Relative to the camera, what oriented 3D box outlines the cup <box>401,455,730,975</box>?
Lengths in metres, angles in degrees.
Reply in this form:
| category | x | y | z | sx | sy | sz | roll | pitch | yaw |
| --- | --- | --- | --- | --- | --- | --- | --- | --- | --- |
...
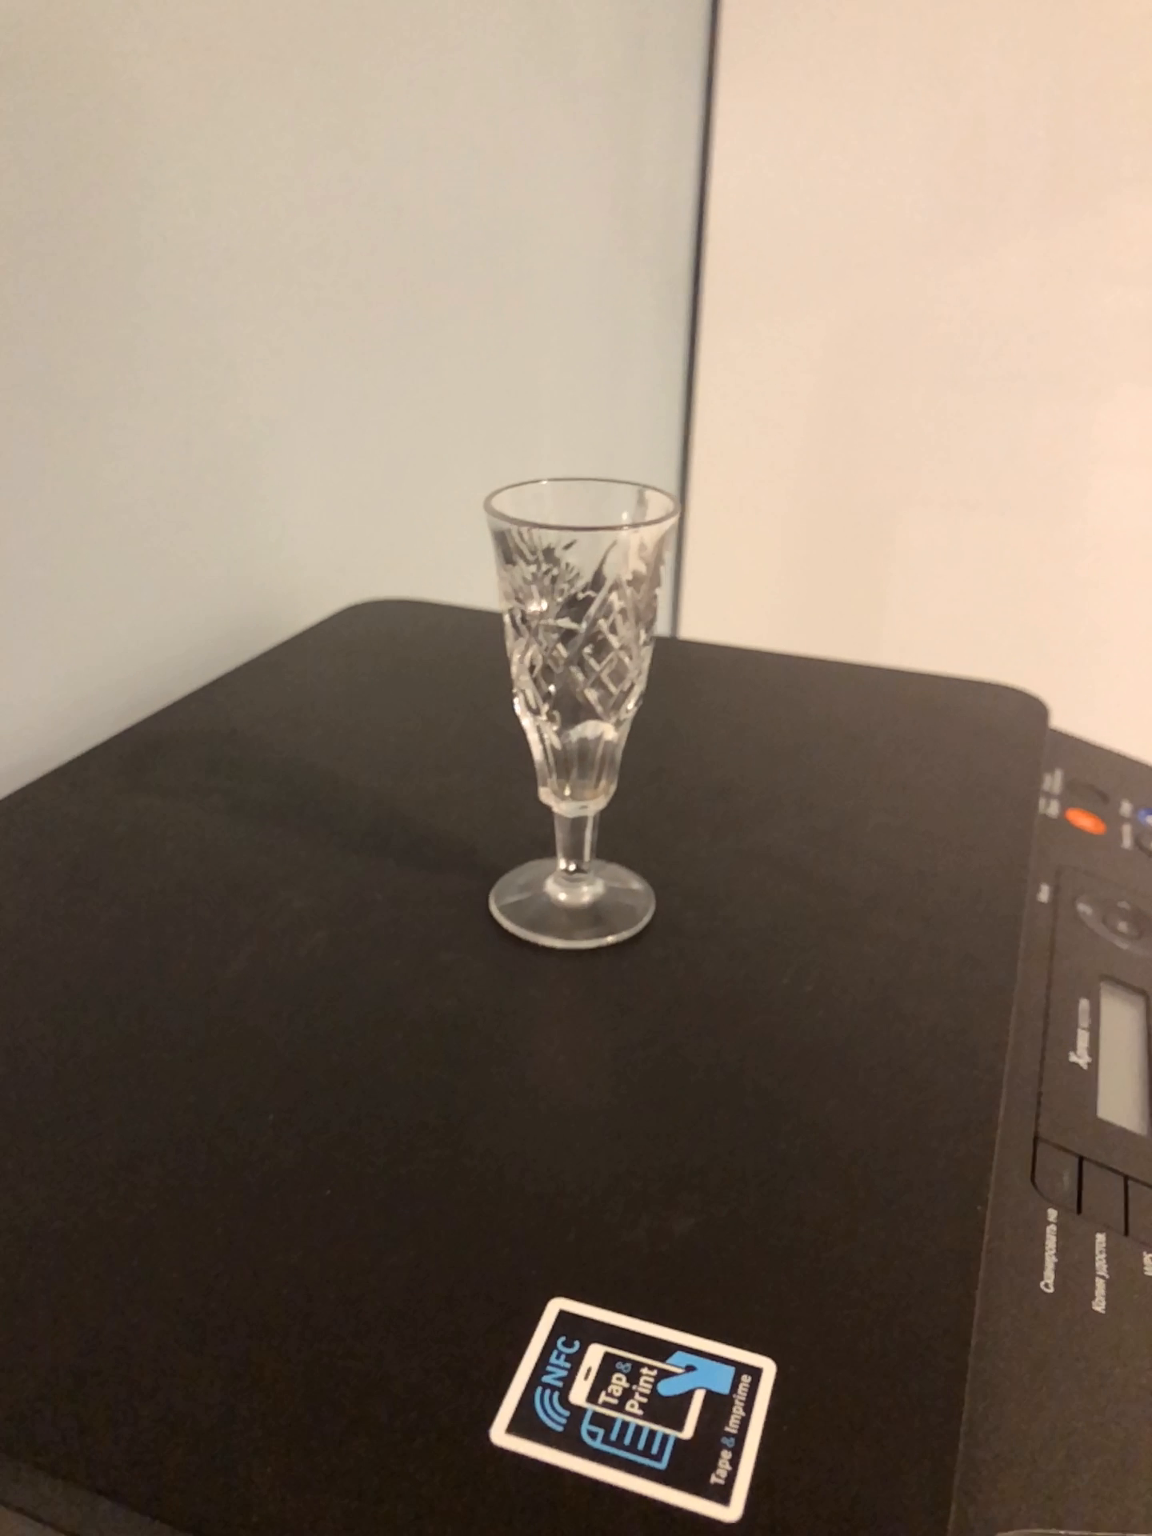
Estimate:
| category | x | y | z | sx | sy | sz | roll | pitch | yaw |
| --- | --- | --- | --- | --- | --- | --- | --- | --- | --- |
| cup | -0.005 | -0.016 | 0.322 | 0.057 | 0.109 | 0.054 | 2 | 24 | -1 |
